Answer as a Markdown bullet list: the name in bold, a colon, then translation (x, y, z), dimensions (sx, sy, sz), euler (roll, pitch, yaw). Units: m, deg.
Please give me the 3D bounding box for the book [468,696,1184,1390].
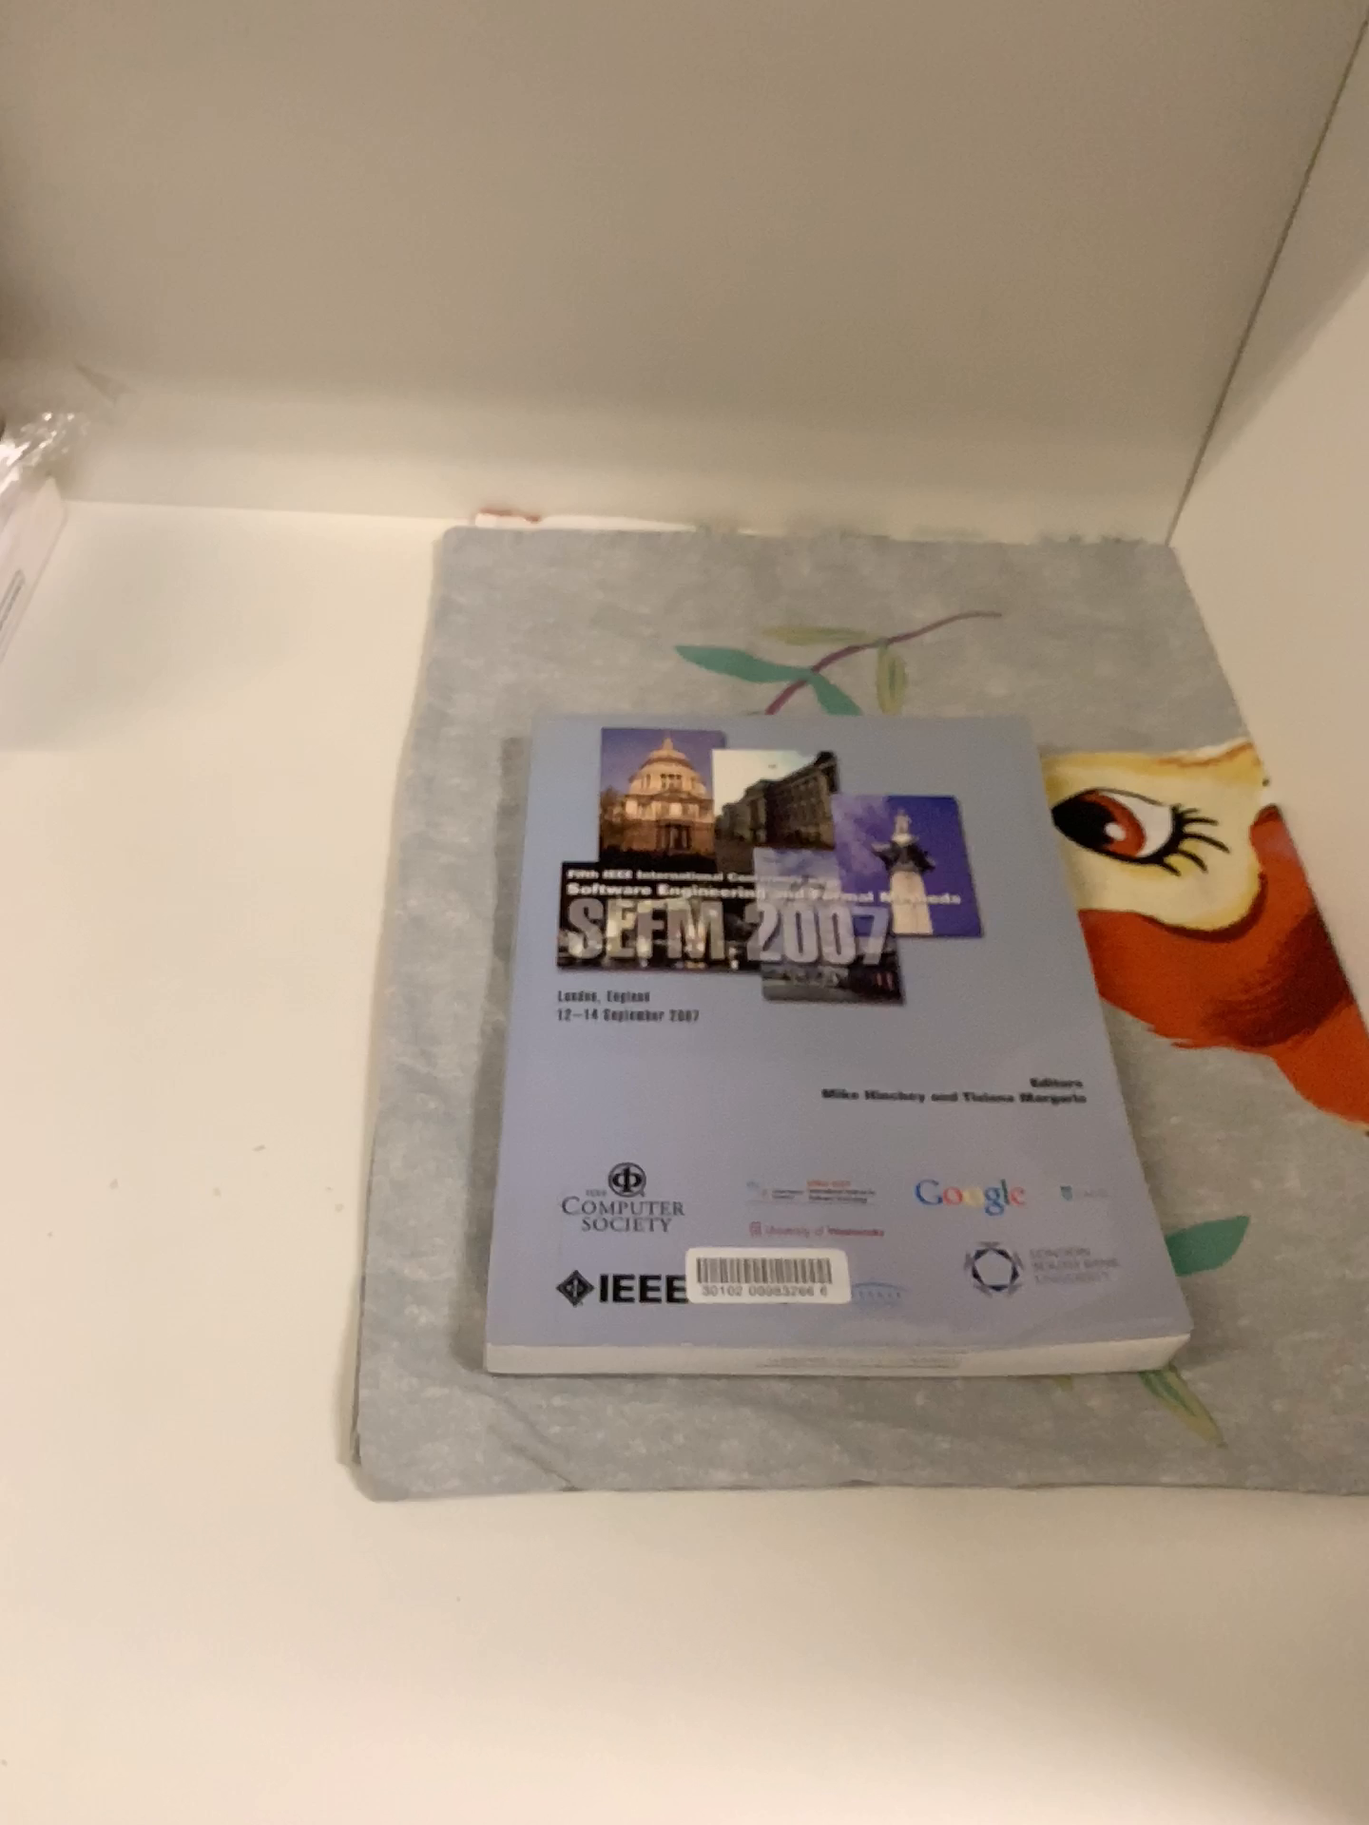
- **book**: translation (0.041, 0.030, 0.512), dimensions (0.210, 0.030, 0.276), euler (2, 50, -2)
